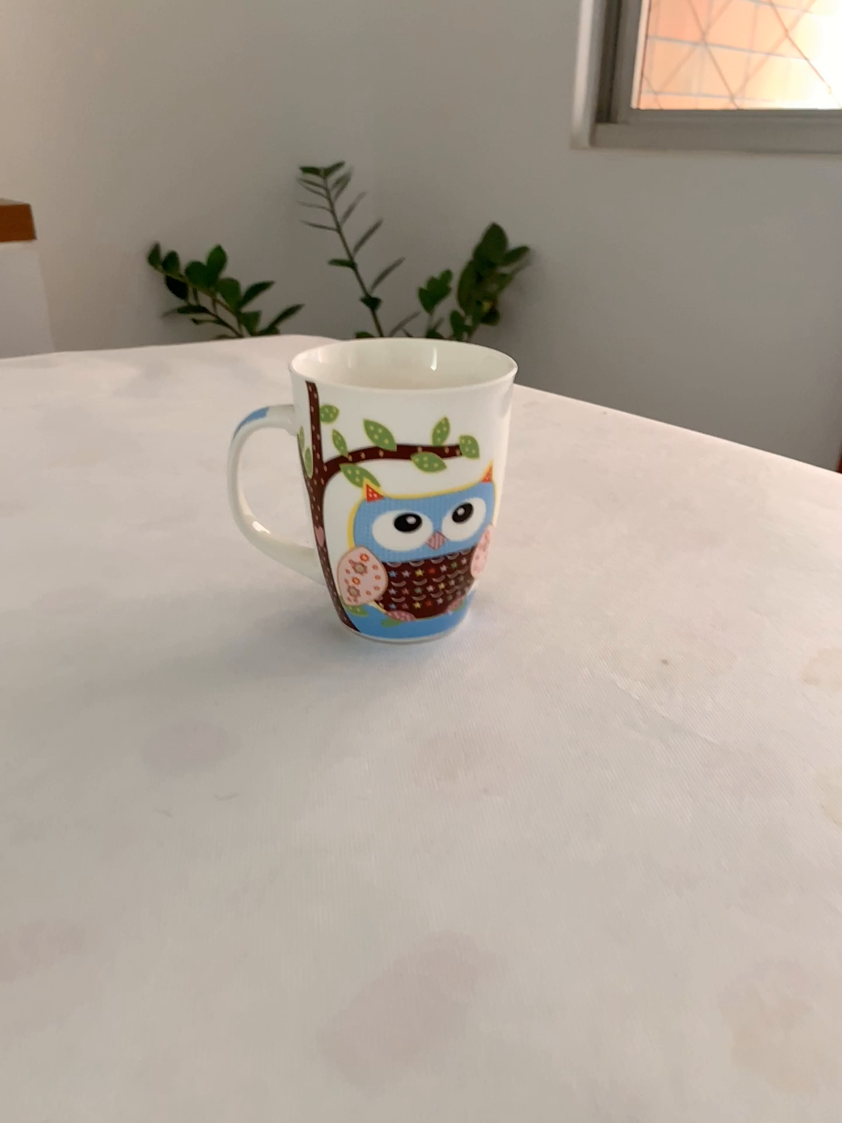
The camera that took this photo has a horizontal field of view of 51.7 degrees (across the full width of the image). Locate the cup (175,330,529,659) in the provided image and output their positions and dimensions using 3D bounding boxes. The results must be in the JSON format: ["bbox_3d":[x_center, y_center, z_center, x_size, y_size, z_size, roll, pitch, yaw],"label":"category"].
[{"bbox_3d":[-0.024,-0.029,0.328,0.110,0.099,0.080,-1,26,-4],"label":"cup"}]
